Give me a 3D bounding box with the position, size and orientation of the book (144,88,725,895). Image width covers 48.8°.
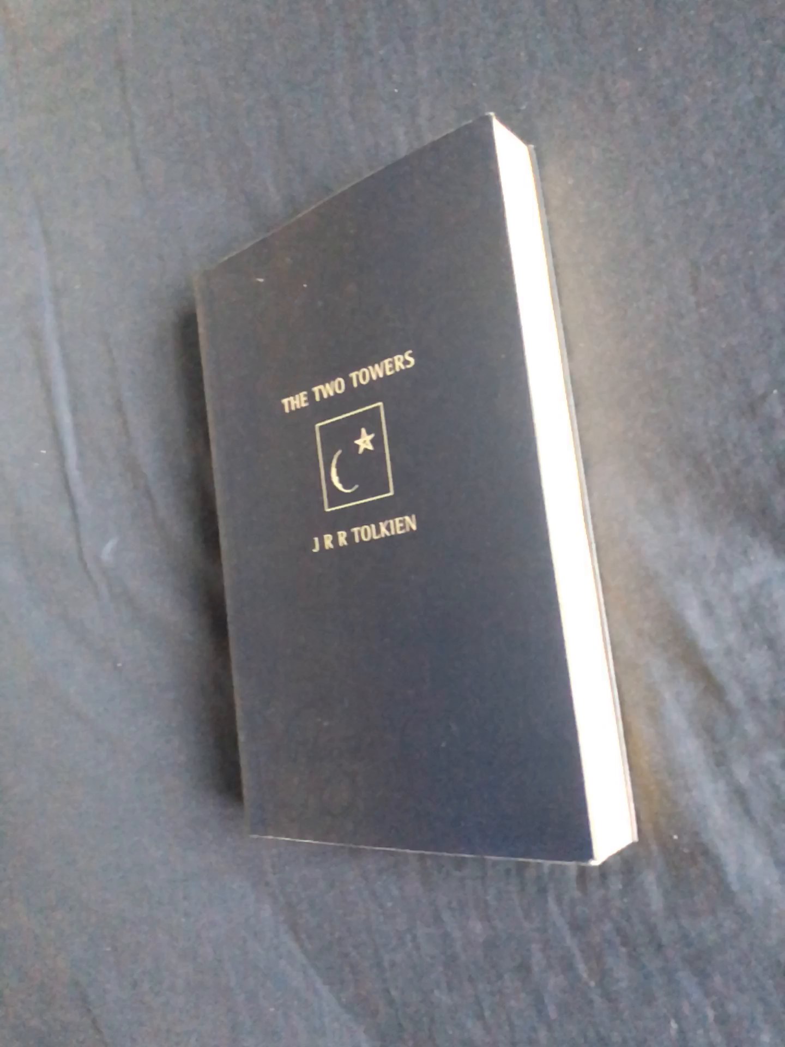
[{"bbox_3d":[0.002,0.001,0.263,0.140,0.060,0.190,-14,80,36],"label":"book"}]
